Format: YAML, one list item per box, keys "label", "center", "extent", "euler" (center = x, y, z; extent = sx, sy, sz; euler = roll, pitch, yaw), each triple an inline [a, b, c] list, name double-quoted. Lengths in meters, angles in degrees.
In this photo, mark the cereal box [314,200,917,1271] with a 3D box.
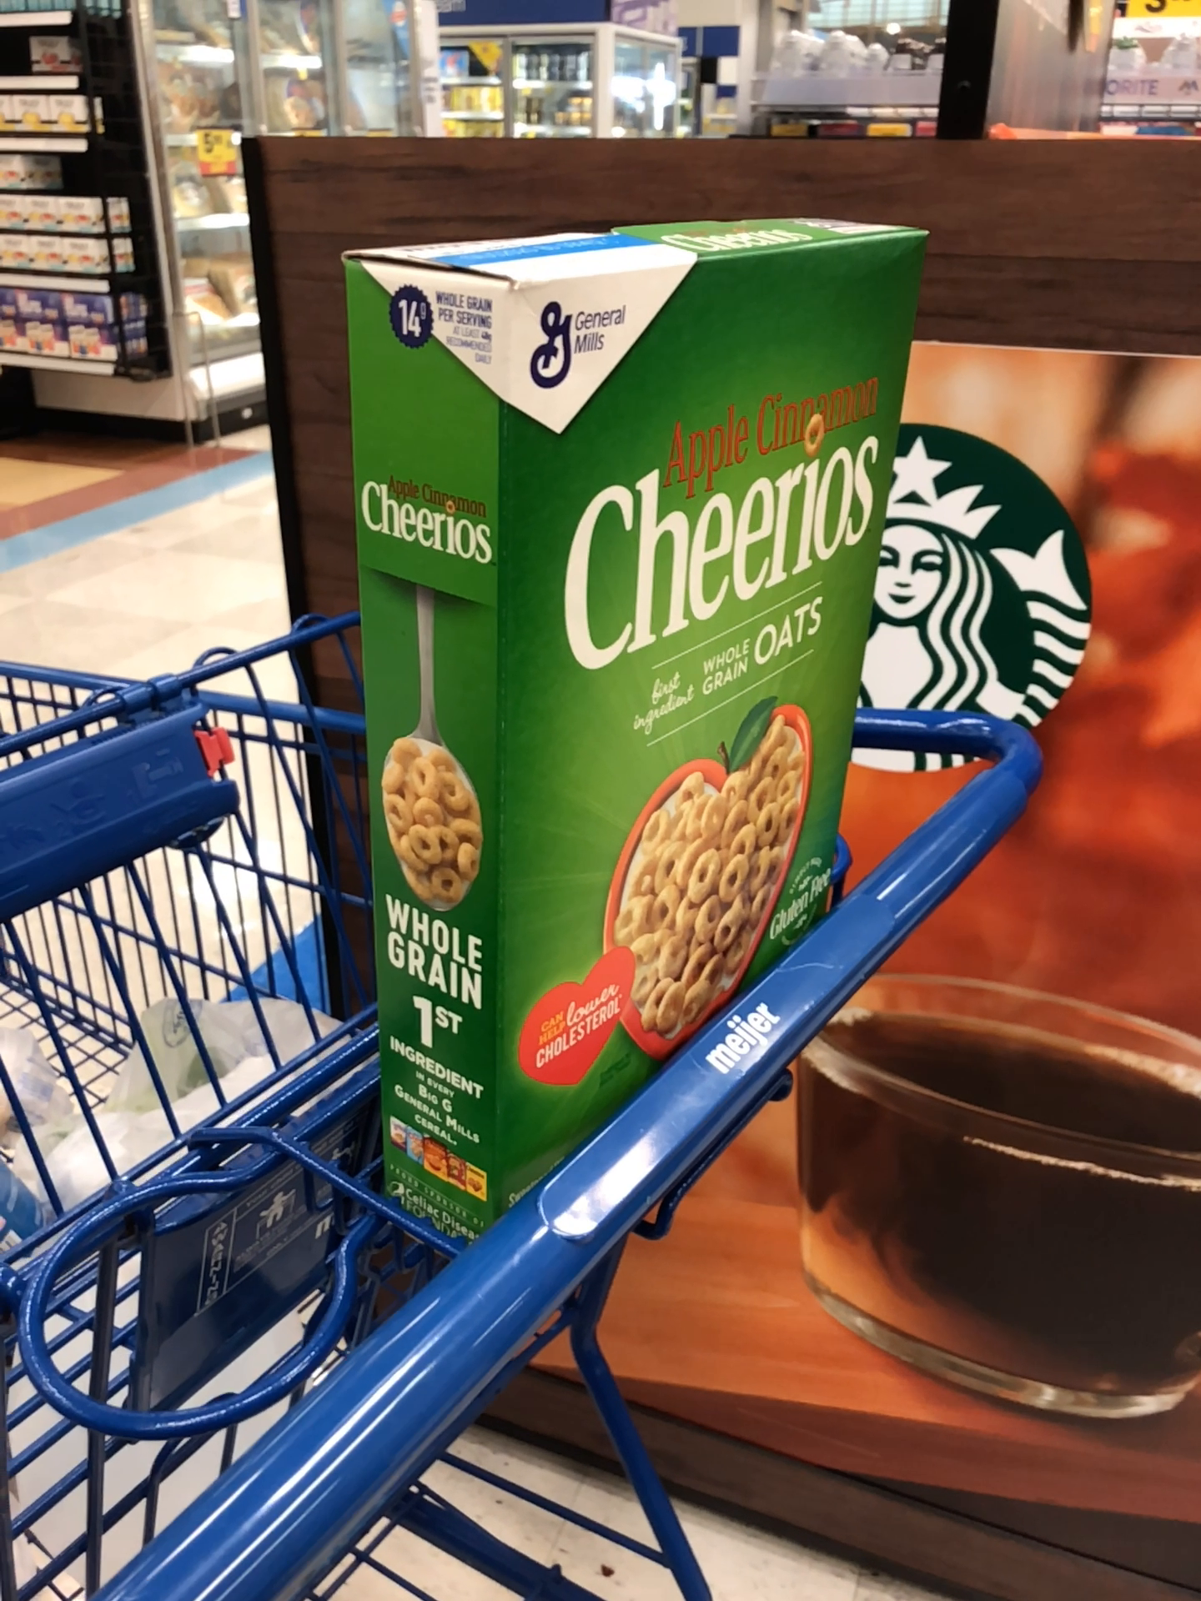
- label: "cereal box"
  center: [0.014, -0.032, 0.406]
  extent: [0.050, 0.269, 0.210]
  euler: [18, 31, 29]
